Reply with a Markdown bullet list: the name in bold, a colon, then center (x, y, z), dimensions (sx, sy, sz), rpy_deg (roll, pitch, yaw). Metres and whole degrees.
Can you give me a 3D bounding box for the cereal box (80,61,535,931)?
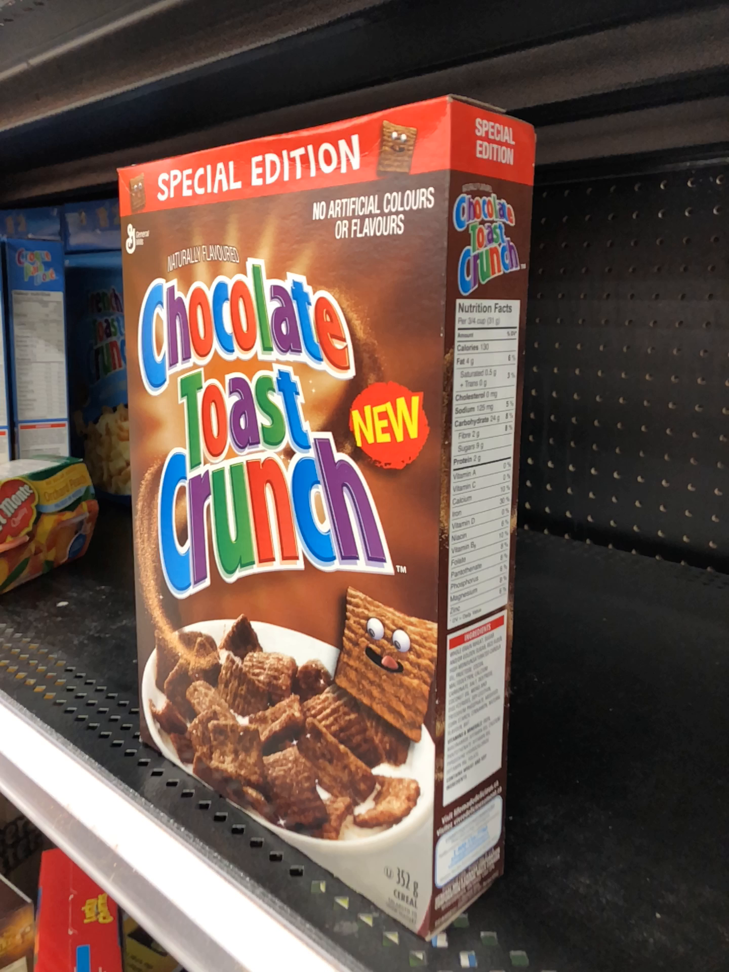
- **cereal box**: center (-0.037, -0.002, 0.330), dimensions (0.200, 0.269, 0.050), rpy_deg (12, 15, 43)
